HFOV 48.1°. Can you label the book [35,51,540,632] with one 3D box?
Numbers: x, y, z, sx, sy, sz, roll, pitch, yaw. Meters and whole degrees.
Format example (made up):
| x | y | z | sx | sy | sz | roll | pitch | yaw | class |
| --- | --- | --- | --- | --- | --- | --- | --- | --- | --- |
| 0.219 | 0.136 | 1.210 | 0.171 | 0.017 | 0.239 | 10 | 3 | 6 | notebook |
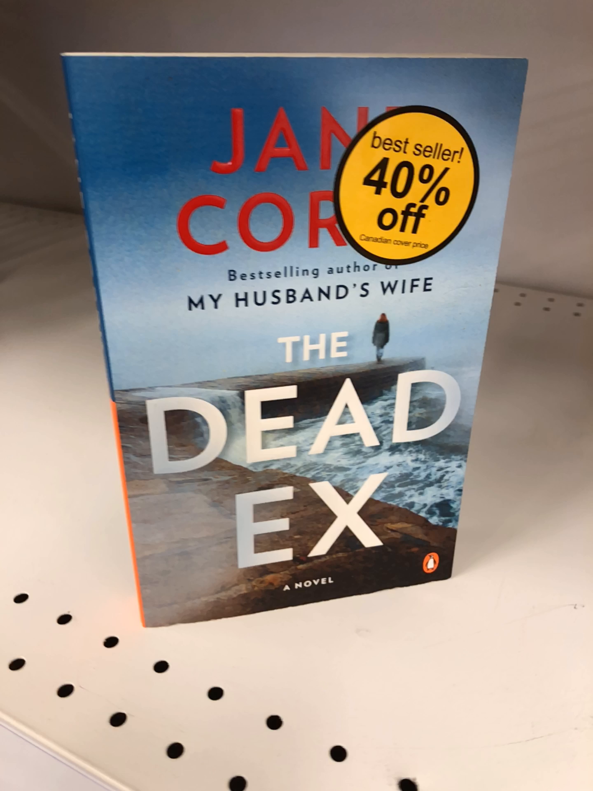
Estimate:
| x | y | z | sx | sy | sz | roll | pitch | yaw | class |
| --- | --- | --- | --- | --- | --- | --- | --- | --- | --- |
| -0.001 | -0.012 | 0.255 | 0.146 | 0.211 | 0.040 | -6 | 29 | -10 | book |
